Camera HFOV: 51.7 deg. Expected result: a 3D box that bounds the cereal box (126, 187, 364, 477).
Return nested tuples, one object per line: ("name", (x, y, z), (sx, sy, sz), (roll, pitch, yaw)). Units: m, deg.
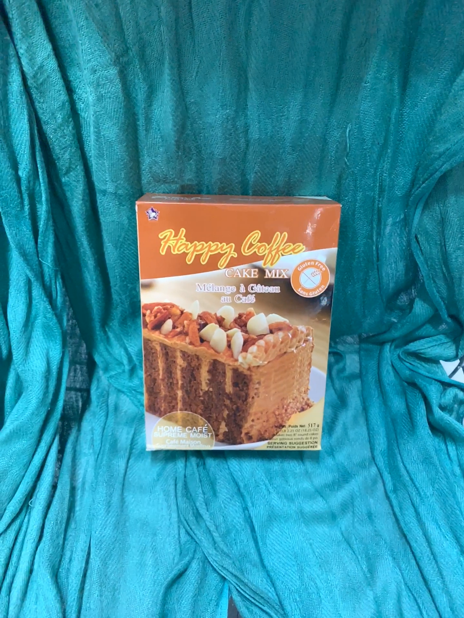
("cereal box", (0.006, 0.021, 0.357), (0.150, 0.210, 0.050), (1, 18, -2))
